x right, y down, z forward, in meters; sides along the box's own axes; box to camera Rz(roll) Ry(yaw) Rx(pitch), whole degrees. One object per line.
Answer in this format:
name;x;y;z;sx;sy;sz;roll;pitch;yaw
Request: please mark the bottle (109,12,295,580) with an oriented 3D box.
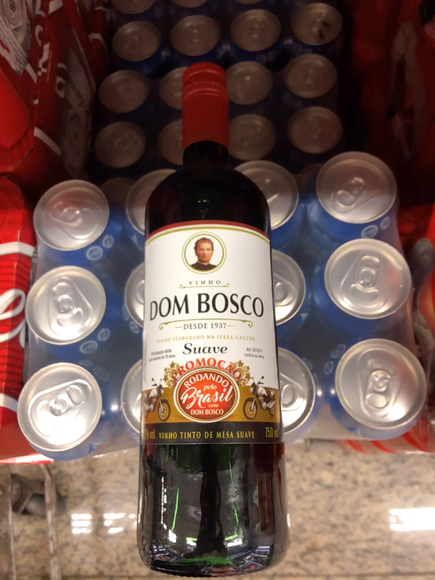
bottle;-0.006;-0.009;0.283;0.080;0.070;0.300;-2;74;4
